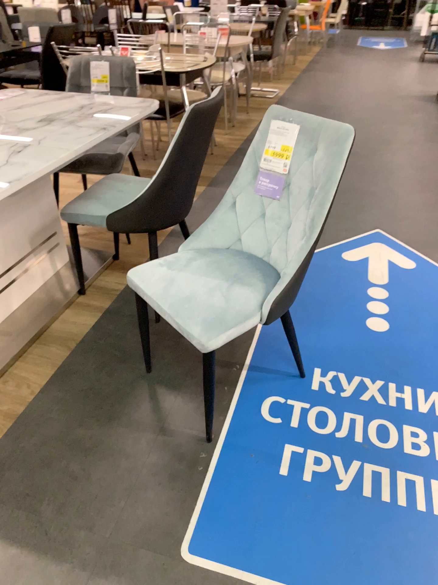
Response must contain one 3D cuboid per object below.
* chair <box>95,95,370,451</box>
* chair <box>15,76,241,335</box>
[{"bbox_3d":[0.030,-0.079,1.434,0.551,0.885,0.472,-24,41,-30],"label":"chair"},{"bbox_3d":[-0.310,-0.396,1.965,0.665,0.880,0.572,10,36,14],"label":"chair"}]
